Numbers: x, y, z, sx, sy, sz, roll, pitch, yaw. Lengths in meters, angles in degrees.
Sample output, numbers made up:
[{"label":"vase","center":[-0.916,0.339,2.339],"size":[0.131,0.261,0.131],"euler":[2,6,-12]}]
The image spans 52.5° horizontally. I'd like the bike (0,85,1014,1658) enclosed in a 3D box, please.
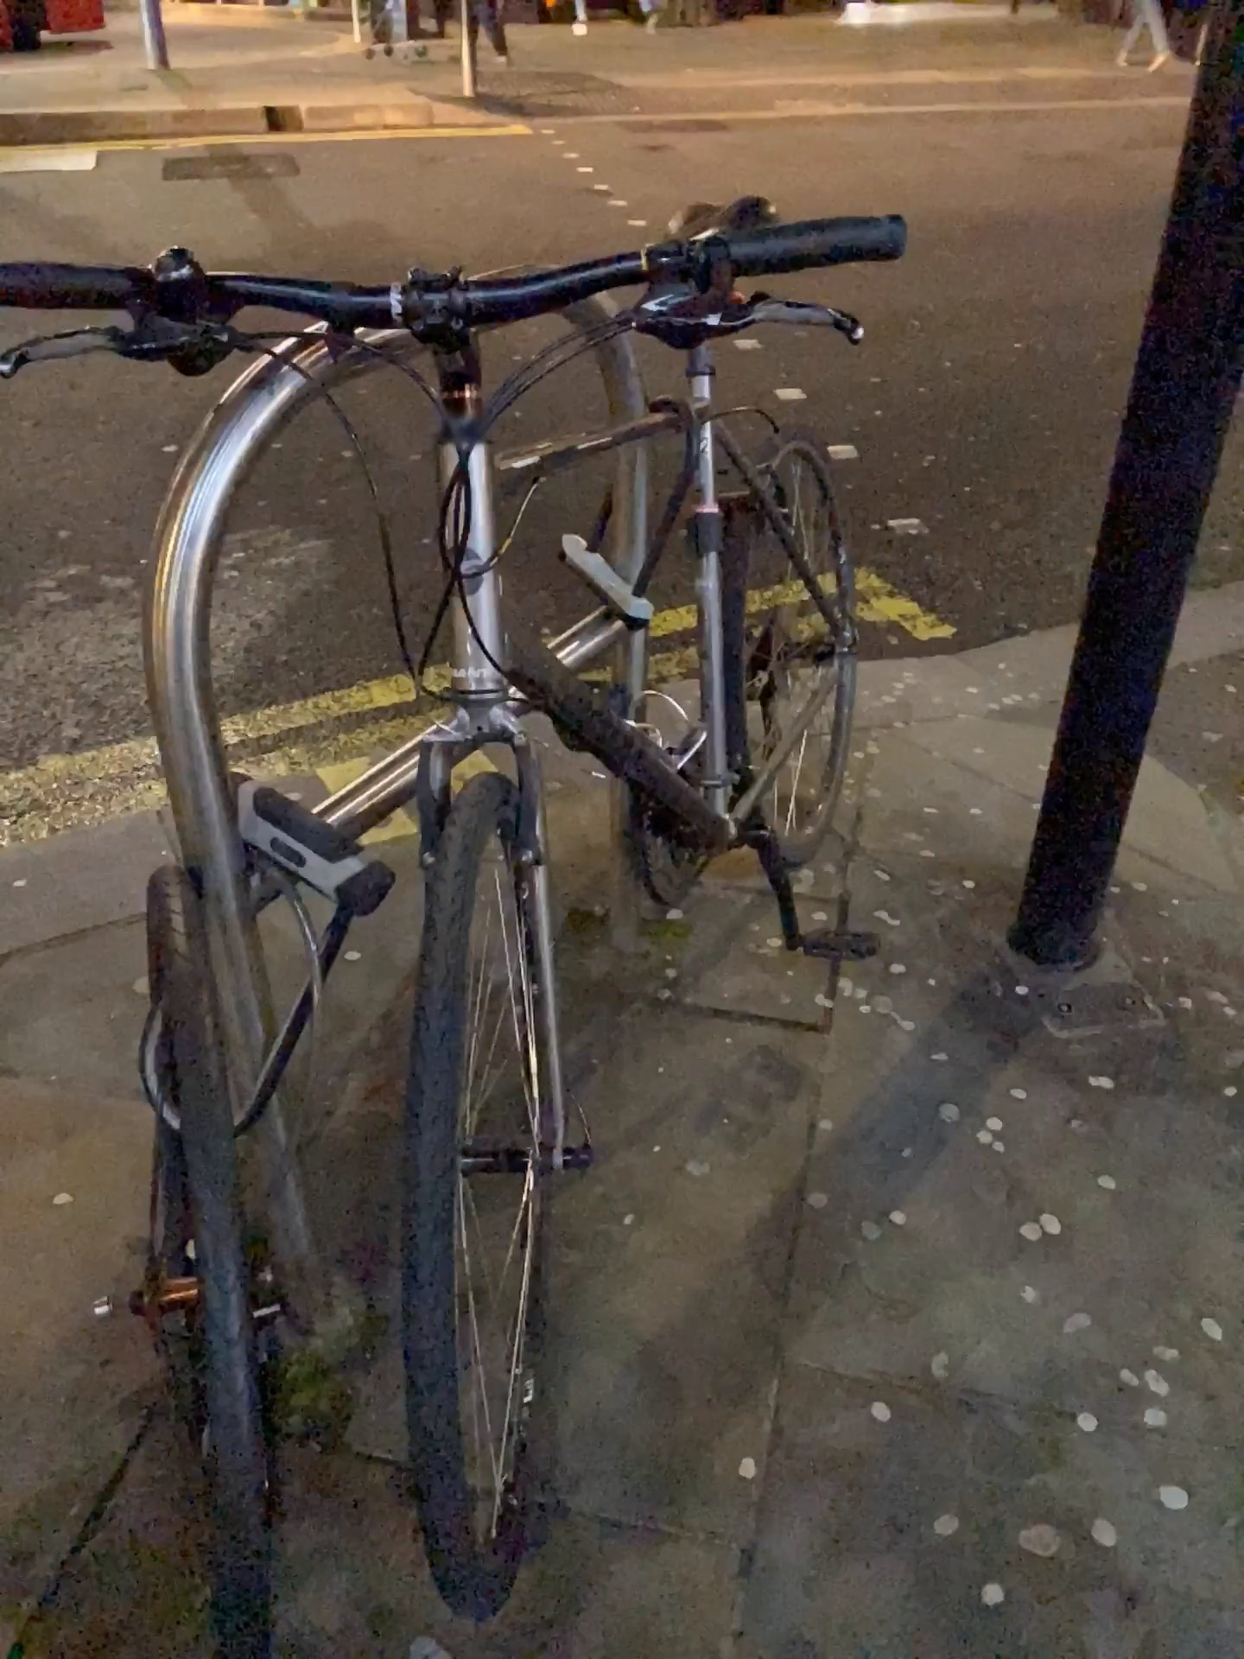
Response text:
[{"label":"bike","center":[-0.031,-0.186,1.516],"size":[0.708,1.124,1.830],"euler":[10,35,14]}]
